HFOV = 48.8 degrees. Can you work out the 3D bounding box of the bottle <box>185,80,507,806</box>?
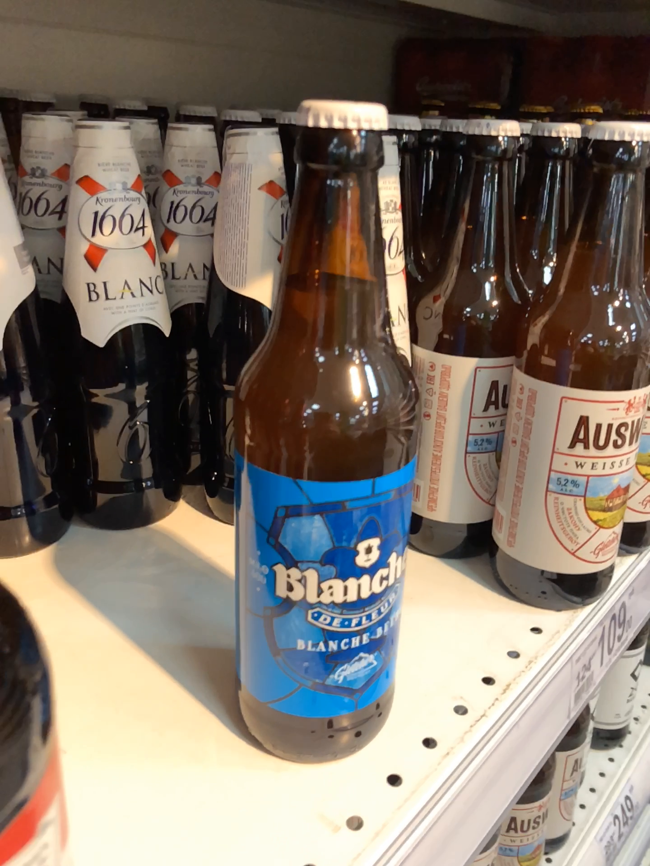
[{"bbox_3d":[0.000,0.008,0.265,0.070,0.244,0.070,2,23,-1],"label":"bottle"}]
